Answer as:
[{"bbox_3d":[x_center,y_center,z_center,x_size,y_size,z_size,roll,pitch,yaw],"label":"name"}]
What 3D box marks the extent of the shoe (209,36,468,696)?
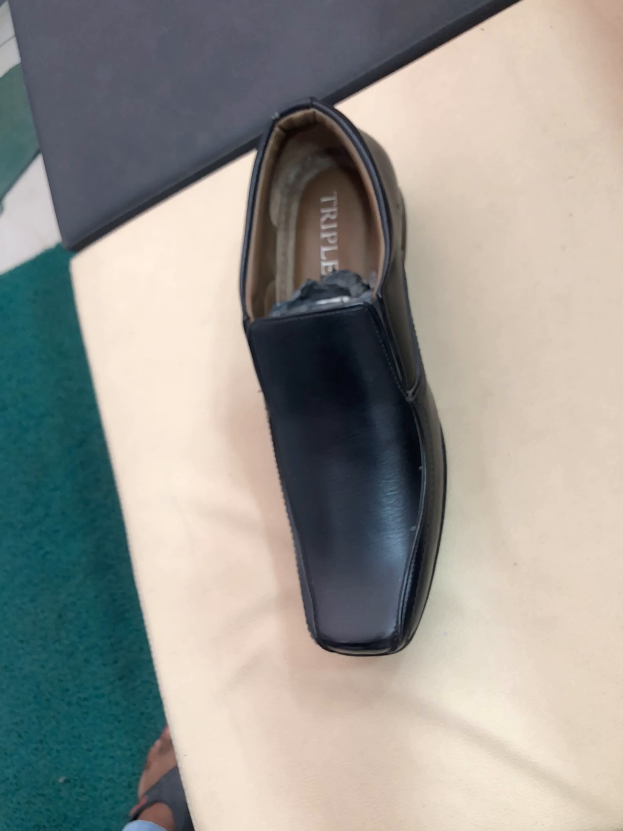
[{"bbox_3d":[0.015,-0.023,0.379,0.090,0.100,0.310,-8,78,22],"label":"shoe"}]
